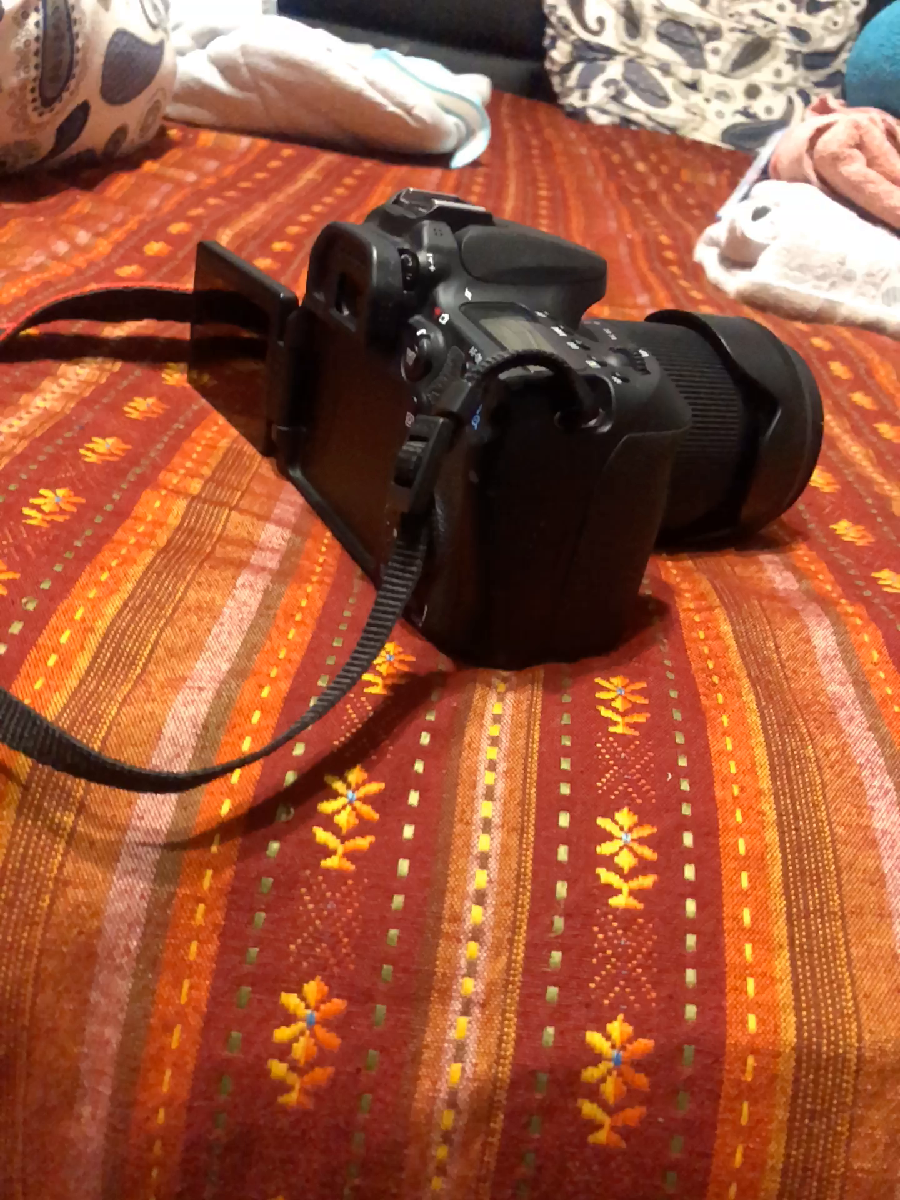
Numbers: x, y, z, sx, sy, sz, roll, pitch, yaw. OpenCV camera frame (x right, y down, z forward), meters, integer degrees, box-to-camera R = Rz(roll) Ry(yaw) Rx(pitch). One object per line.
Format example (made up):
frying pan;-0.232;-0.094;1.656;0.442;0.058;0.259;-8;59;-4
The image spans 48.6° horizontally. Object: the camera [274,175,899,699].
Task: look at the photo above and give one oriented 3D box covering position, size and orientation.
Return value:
camera;0.052;-0.064;0.324;0.171;0.099;0.131;-11;38;-32
